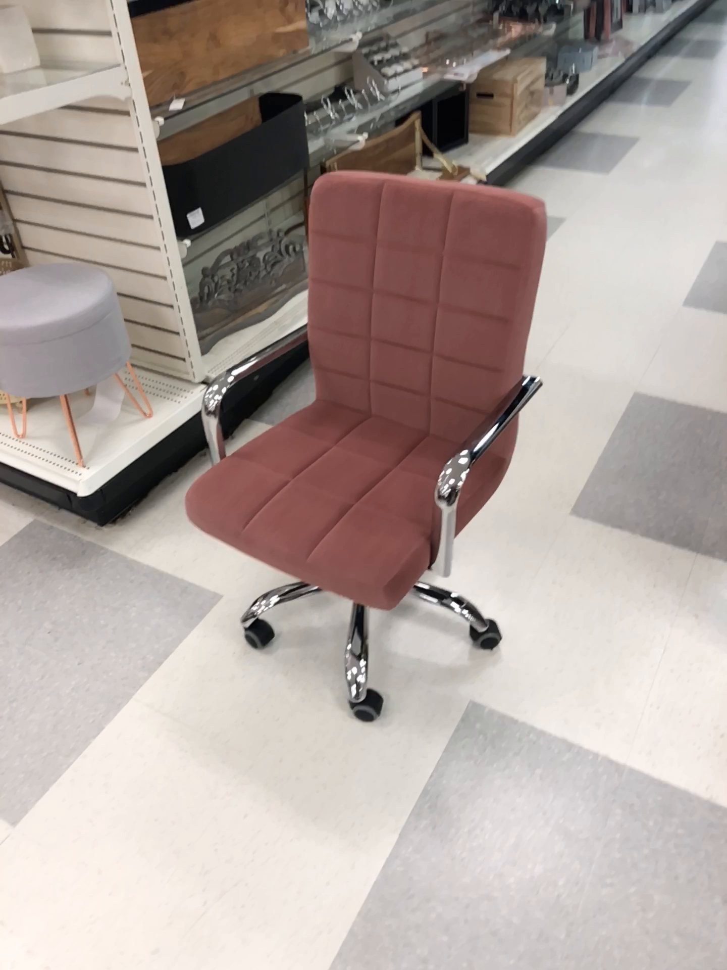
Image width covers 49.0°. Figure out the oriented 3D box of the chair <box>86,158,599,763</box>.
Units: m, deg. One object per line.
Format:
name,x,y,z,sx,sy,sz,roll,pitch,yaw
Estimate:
chair,0.006,-0.065,1.480,0.575,0.819,0.564,20,44,26
